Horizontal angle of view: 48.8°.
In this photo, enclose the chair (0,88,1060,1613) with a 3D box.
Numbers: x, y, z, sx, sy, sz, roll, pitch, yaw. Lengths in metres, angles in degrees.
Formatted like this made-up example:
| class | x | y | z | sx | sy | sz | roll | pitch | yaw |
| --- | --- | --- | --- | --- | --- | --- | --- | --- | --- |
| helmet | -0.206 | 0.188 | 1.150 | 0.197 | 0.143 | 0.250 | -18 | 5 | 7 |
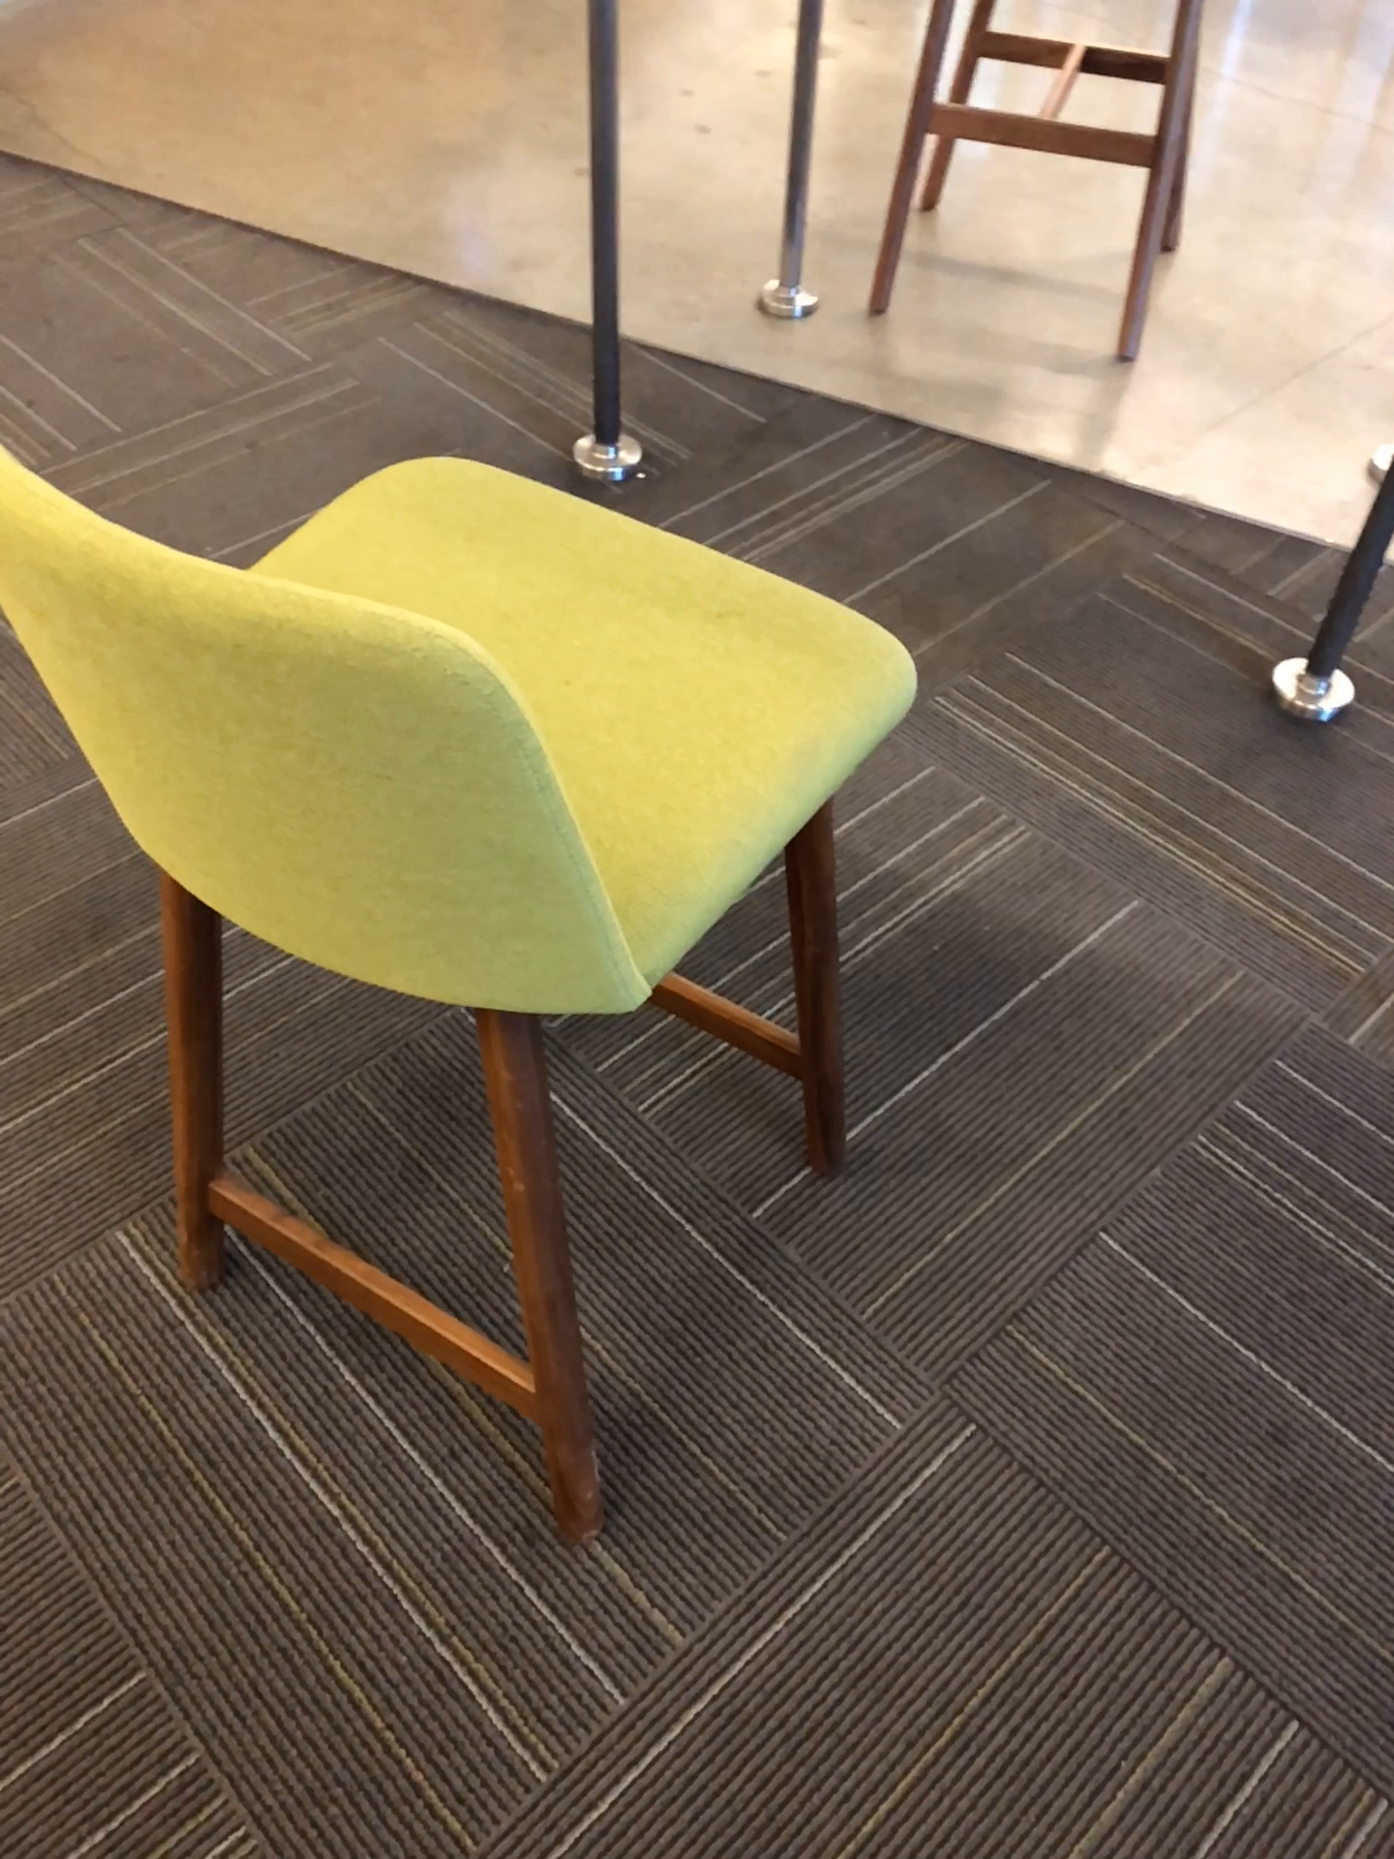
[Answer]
| class | x | y | z | sx | sy | sz | roll | pitch | yaw |
| --- | --- | --- | --- | --- | --- | --- | --- | --- | --- |
| chair | -0.140 | -0.012 | 1.115 | 0.461 | 0.876 | 0.511 | 26 | 51 | 20 |
